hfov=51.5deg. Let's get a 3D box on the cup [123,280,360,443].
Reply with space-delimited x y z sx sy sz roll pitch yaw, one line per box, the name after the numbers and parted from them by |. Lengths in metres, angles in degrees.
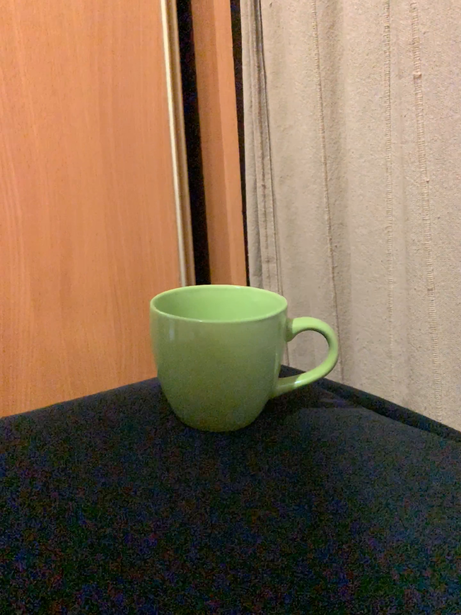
0.009 0.029 0.302 0.124 0.069 0.090 -2 17 4 | cup
